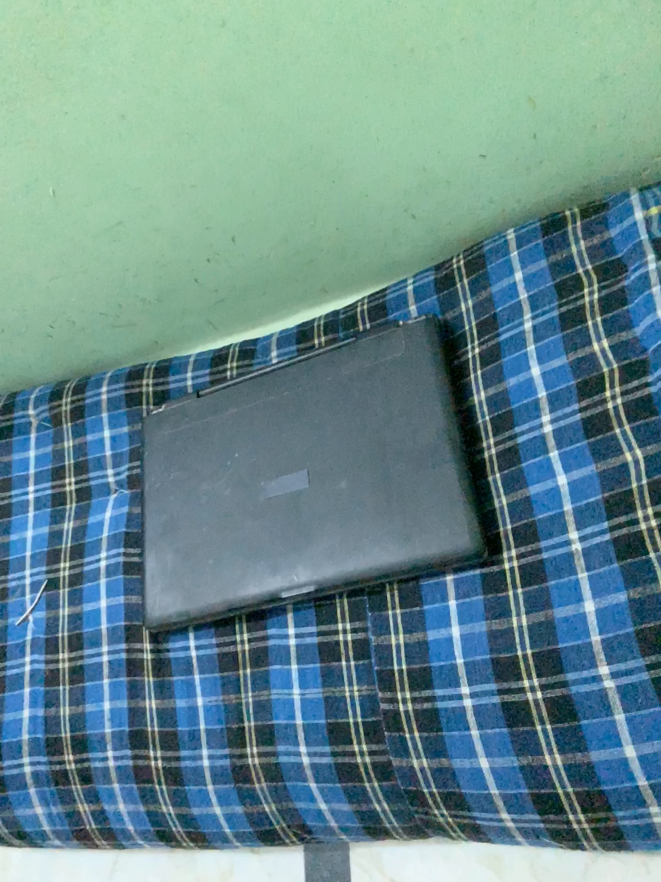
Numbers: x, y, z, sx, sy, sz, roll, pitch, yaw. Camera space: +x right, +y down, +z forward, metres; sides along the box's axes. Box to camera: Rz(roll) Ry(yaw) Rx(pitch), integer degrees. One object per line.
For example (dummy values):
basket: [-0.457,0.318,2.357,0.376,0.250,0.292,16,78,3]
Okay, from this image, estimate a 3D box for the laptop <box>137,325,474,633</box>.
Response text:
laptop: [-0.048,0.038,0.629,0.323,0.005,0.216,-17,64,20]
